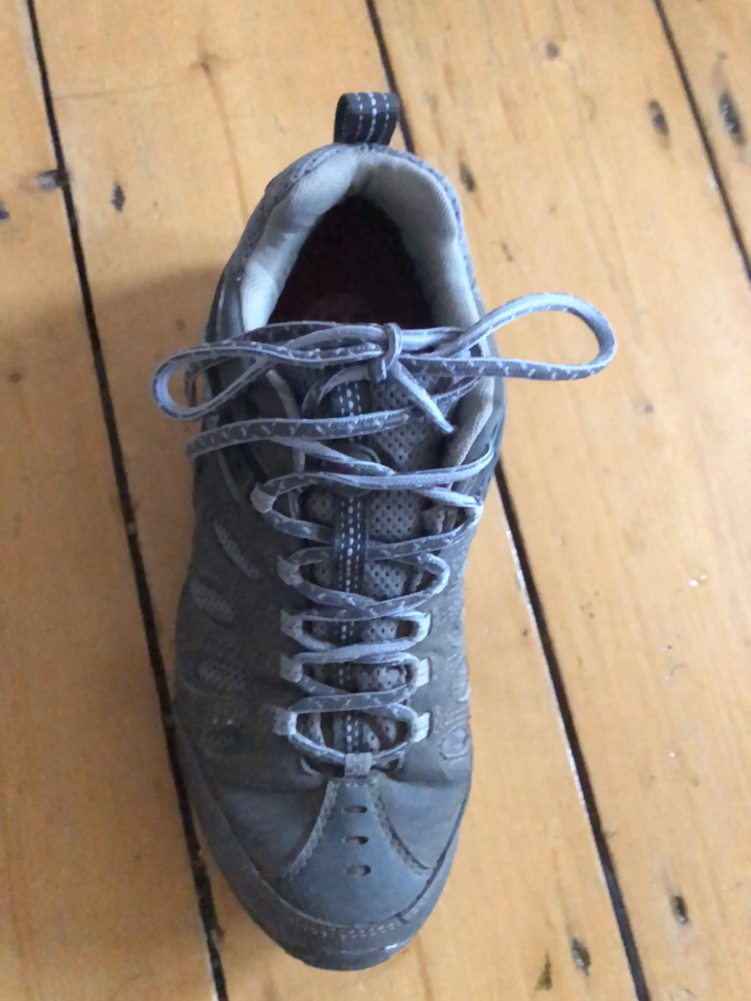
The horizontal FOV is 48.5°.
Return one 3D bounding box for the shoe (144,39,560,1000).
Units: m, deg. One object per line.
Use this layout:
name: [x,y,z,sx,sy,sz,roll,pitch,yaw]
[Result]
shoe: [-0.014,0.011,0.281,0.100,0.110,0.280,1,78,-9]
